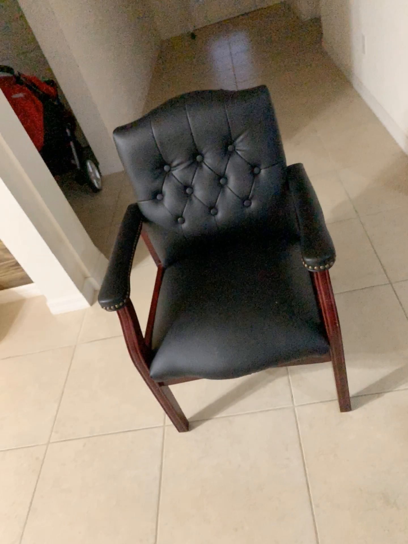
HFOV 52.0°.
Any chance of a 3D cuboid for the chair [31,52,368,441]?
[{"bbox_3d":[0.083,-0.034,1.326,0.631,0.908,0.661,-12,40,11],"label":"chair"}]
